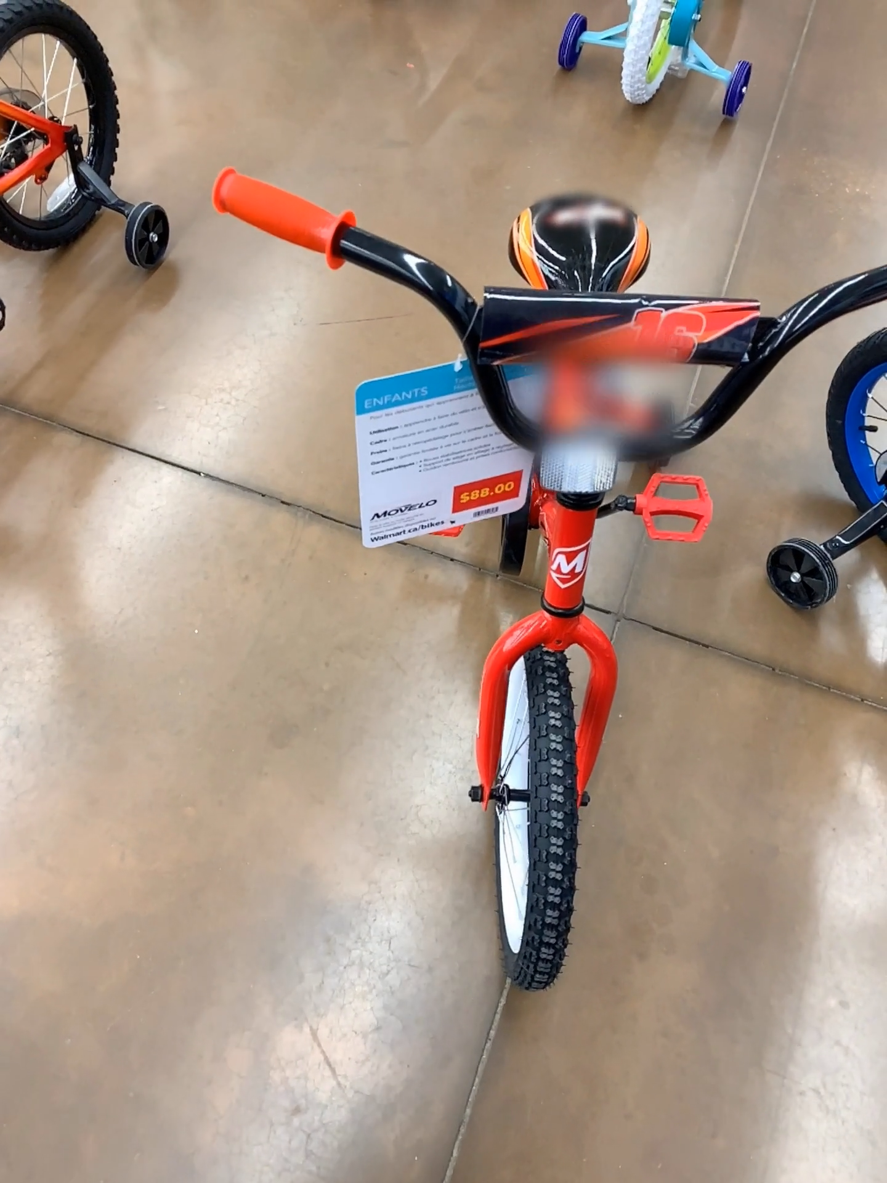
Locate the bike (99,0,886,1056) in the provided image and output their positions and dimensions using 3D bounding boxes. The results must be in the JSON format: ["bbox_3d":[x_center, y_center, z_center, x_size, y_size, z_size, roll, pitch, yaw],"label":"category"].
[{"bbox_3d":[0.149,-0.169,1.046,0.515,0.955,1.145,4,54,0],"label":"bike"}]
